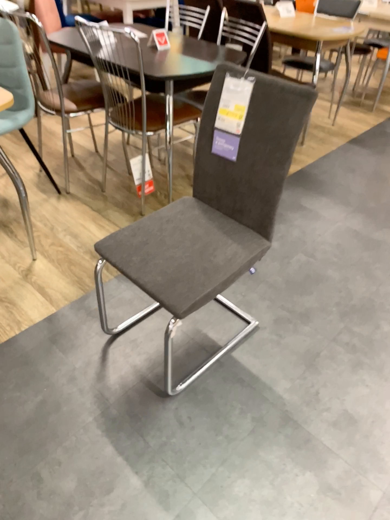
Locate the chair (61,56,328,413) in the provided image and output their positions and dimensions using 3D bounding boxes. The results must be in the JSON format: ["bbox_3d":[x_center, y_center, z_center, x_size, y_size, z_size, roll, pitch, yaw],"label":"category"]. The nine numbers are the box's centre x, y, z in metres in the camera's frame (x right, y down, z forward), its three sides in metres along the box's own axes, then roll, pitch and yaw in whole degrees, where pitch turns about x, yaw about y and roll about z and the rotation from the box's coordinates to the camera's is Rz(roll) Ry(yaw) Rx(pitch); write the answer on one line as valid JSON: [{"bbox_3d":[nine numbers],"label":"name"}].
[{"bbox_3d":[-0.010,-0.066,1.349,0.436,0.974,0.541,34,48,31],"label":"chair"}]
